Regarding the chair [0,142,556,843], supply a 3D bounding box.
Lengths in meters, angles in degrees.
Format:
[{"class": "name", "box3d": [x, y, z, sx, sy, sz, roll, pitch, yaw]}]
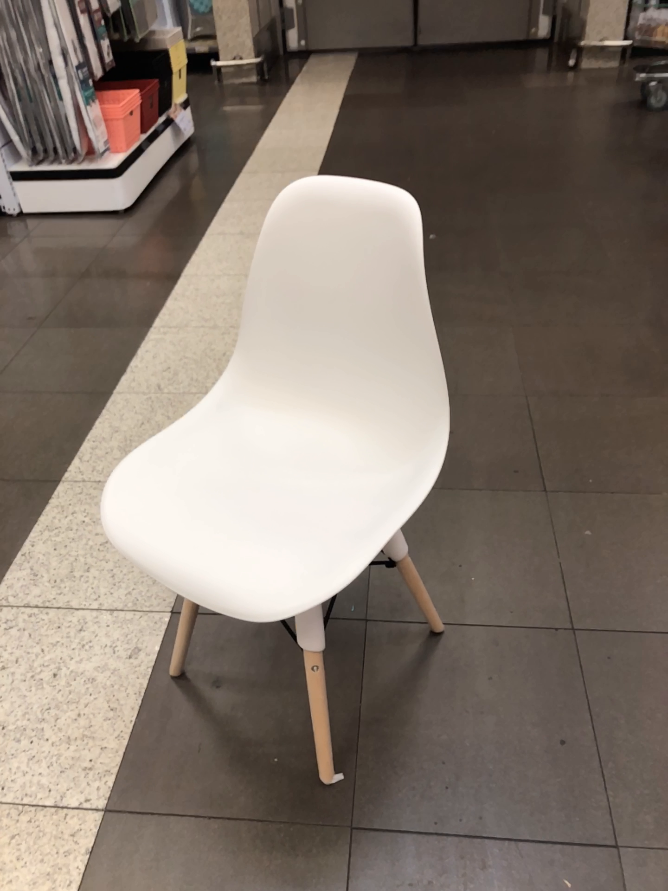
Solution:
[{"class": "chair", "box3d": [-0.068, 0.042, 1.146, 0.522, 0.794, 0.542, 24, 45, 33]}]
